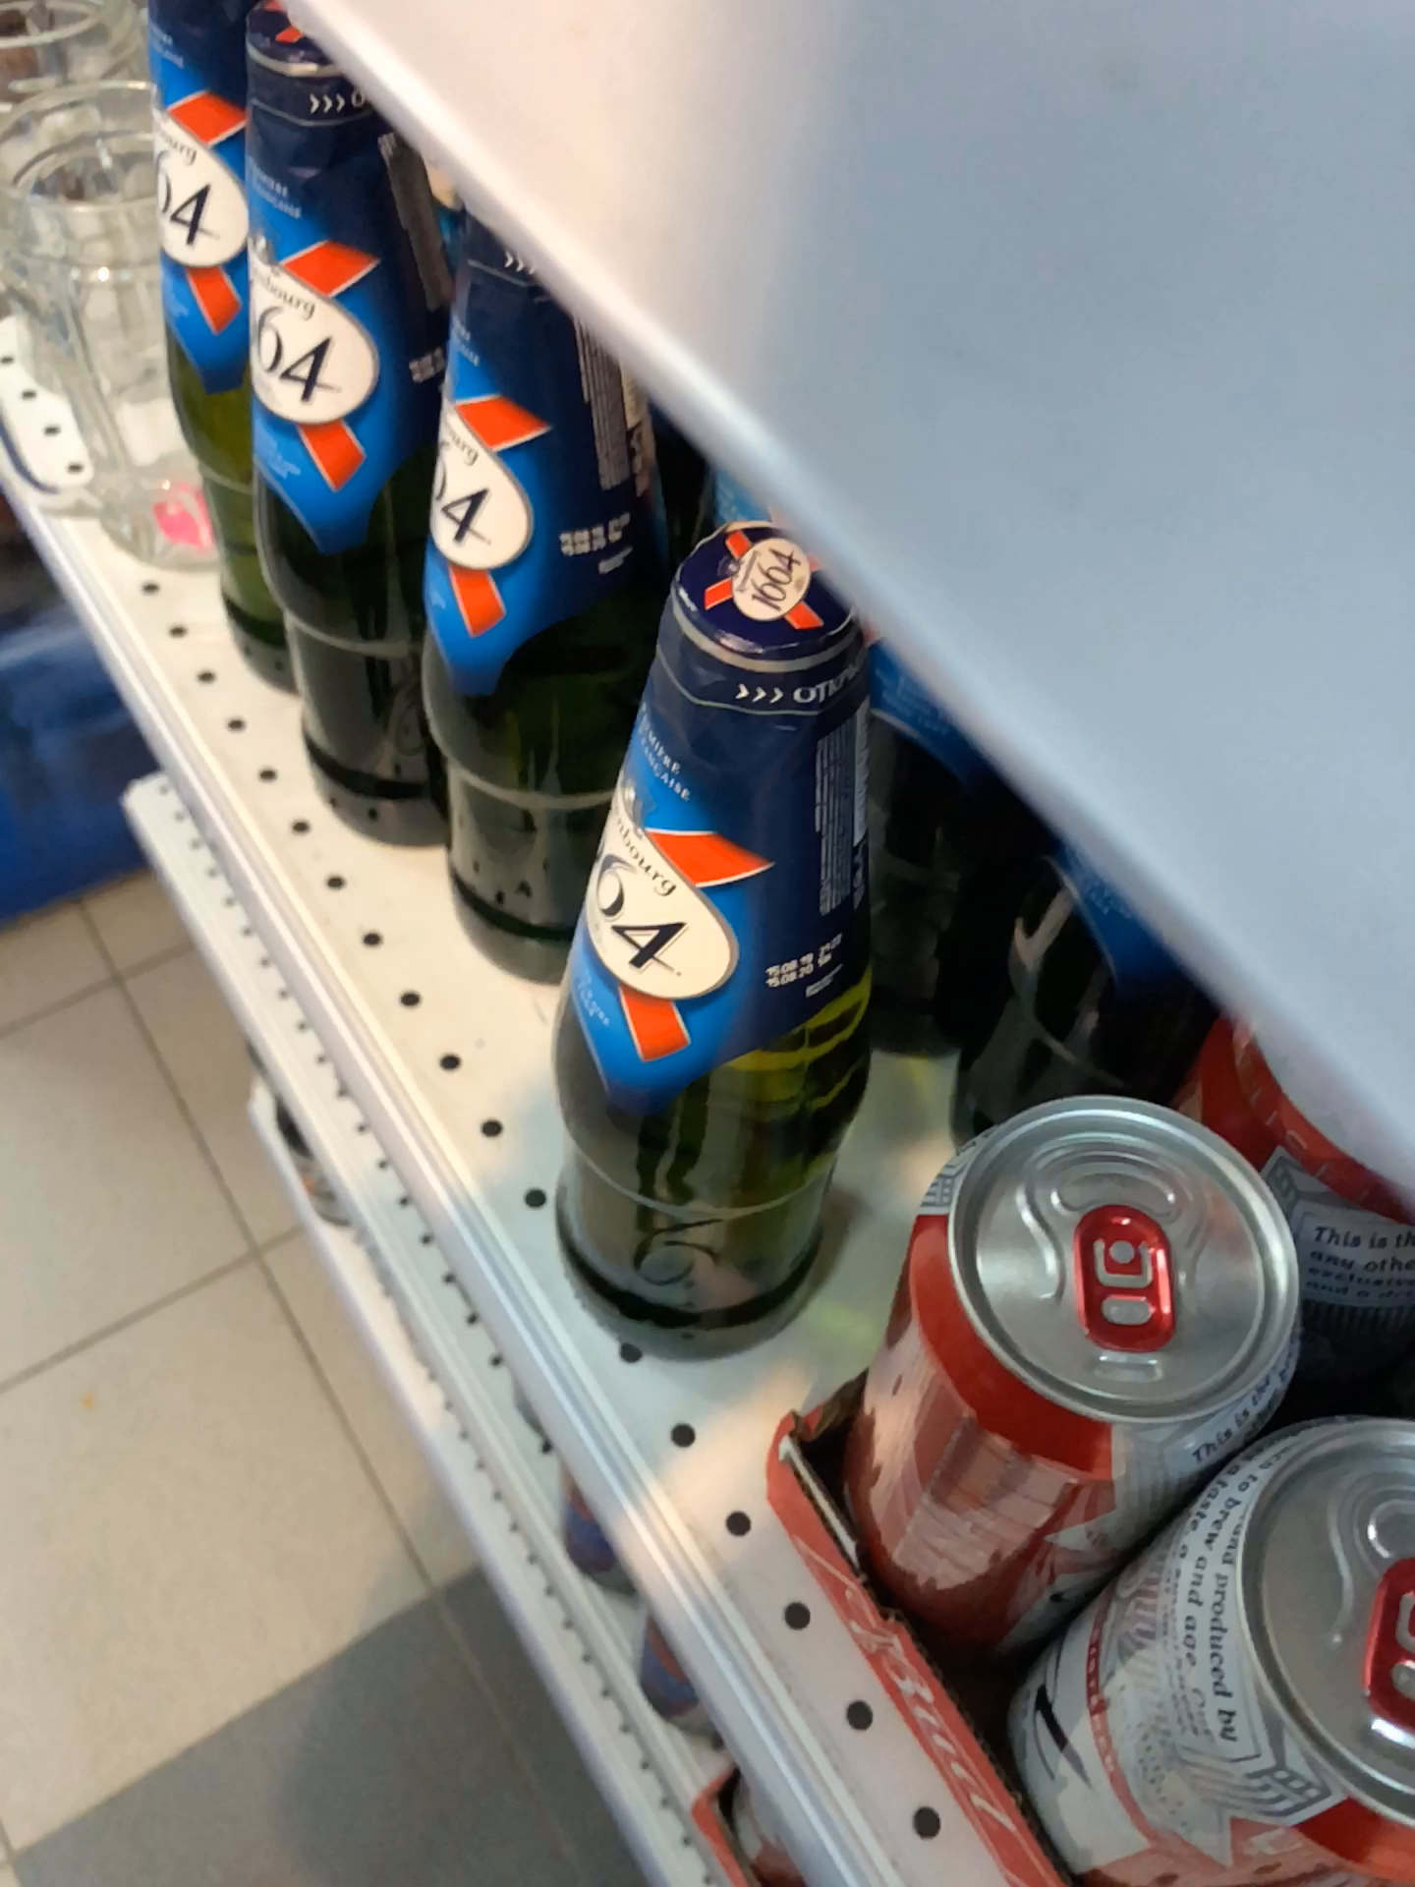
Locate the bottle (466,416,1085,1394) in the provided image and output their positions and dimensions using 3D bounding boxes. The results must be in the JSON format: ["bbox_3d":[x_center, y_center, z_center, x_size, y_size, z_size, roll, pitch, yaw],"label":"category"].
[{"bbox_3d":[0.002,0.012,0.323,0.080,0.219,0.080,1,55,-2],"label":"bottle"}]
